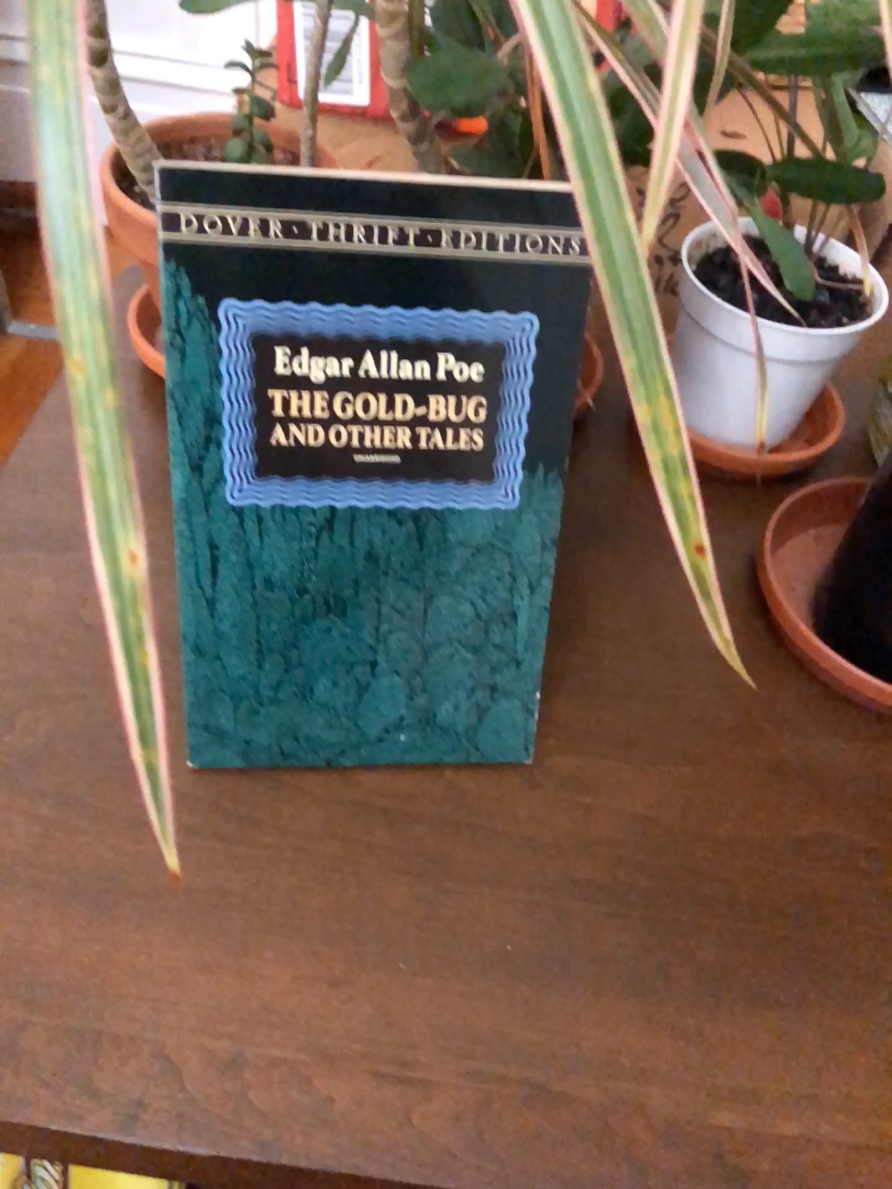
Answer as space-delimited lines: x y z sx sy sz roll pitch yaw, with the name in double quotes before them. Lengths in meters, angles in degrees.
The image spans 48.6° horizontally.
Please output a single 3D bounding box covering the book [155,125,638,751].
"book" -0.020 -0.041 0.339 0.140 0.209 0.020 0 25 -8
